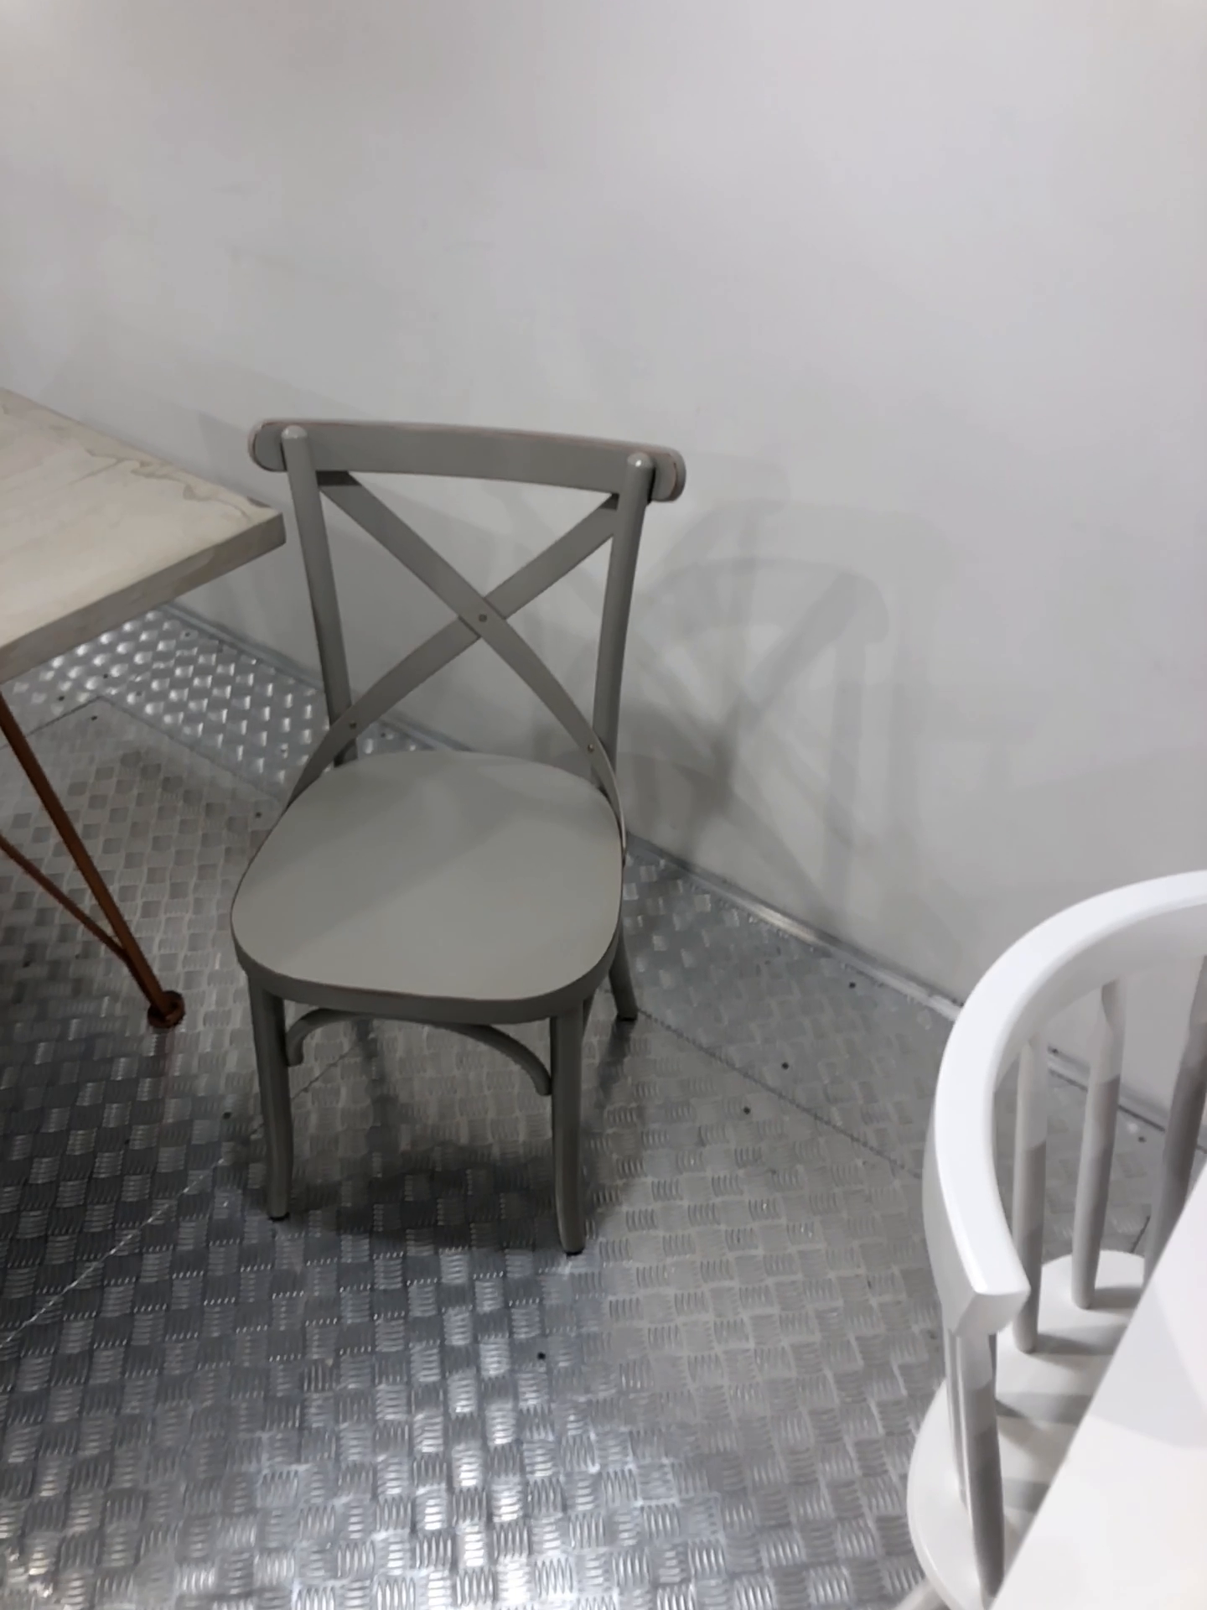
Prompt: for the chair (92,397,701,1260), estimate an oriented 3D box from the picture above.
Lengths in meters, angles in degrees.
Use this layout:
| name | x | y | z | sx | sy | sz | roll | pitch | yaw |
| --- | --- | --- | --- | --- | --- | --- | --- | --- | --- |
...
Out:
| name | x | y | z | sx | sy | sz | roll | pitch | yaw |
| --- | --- | --- | --- | --- | --- | --- | --- | --- | --- |
| chair | -0.181 | 0.051 | 1.623 | 0.510 | 0.893 | 0.504 | 5 | 39 | 4 |
